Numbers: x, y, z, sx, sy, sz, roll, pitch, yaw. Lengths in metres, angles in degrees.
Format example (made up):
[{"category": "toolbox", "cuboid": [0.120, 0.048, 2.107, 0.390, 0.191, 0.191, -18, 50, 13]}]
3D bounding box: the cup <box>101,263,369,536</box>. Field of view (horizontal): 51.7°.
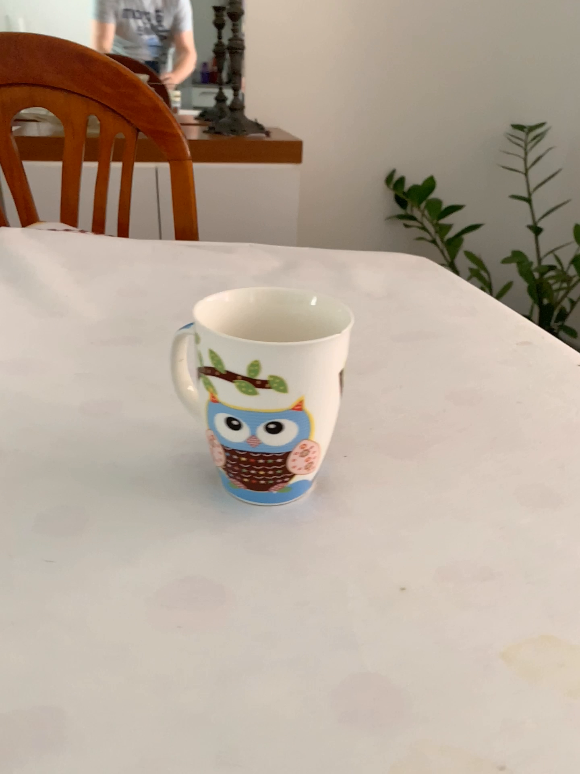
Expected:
[{"category": "cup", "cuboid": [-0.028, 0.000, 0.327, 0.110, 0.099, 0.080, 15, 30, 23]}]
